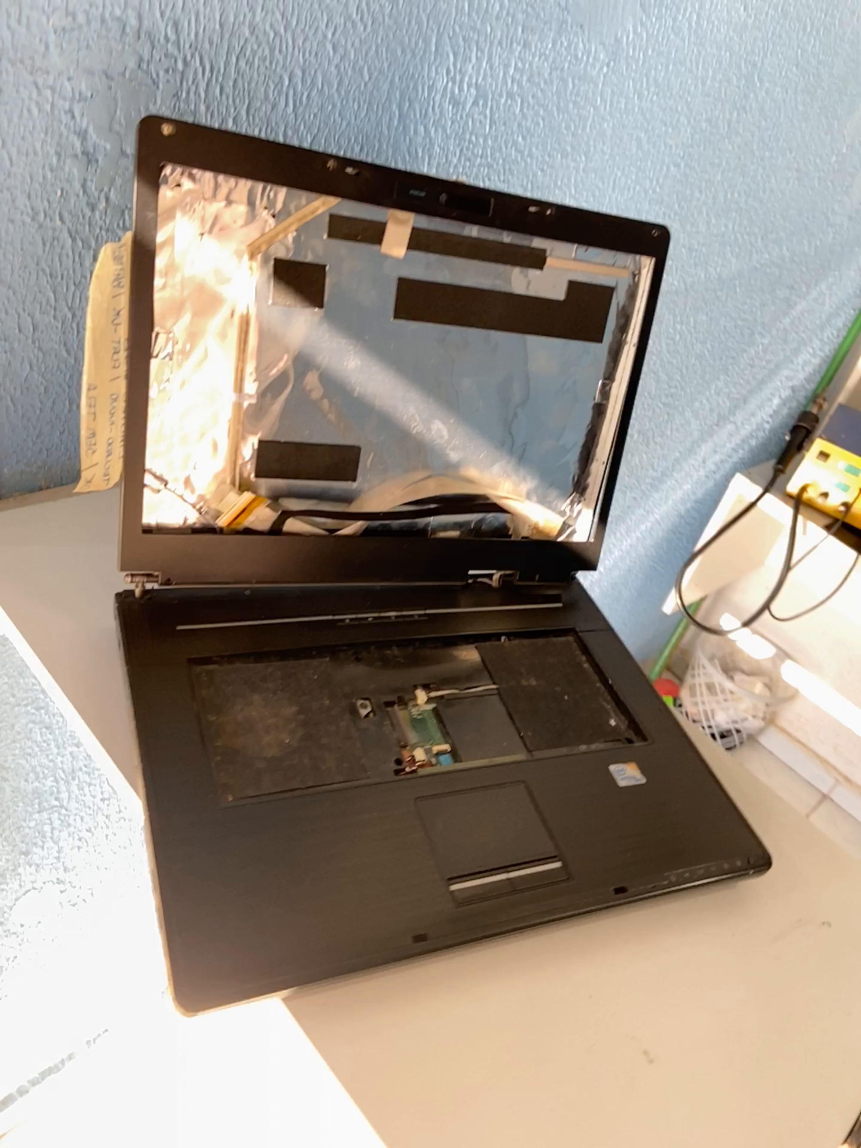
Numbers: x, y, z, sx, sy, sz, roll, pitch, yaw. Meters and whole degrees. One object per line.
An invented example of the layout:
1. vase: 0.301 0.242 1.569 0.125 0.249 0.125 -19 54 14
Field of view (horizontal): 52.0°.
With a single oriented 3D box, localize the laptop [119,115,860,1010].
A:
1. laptop: 0.028 -0.034 0.505 0.353 0.261 0.351 -1 40 -25
